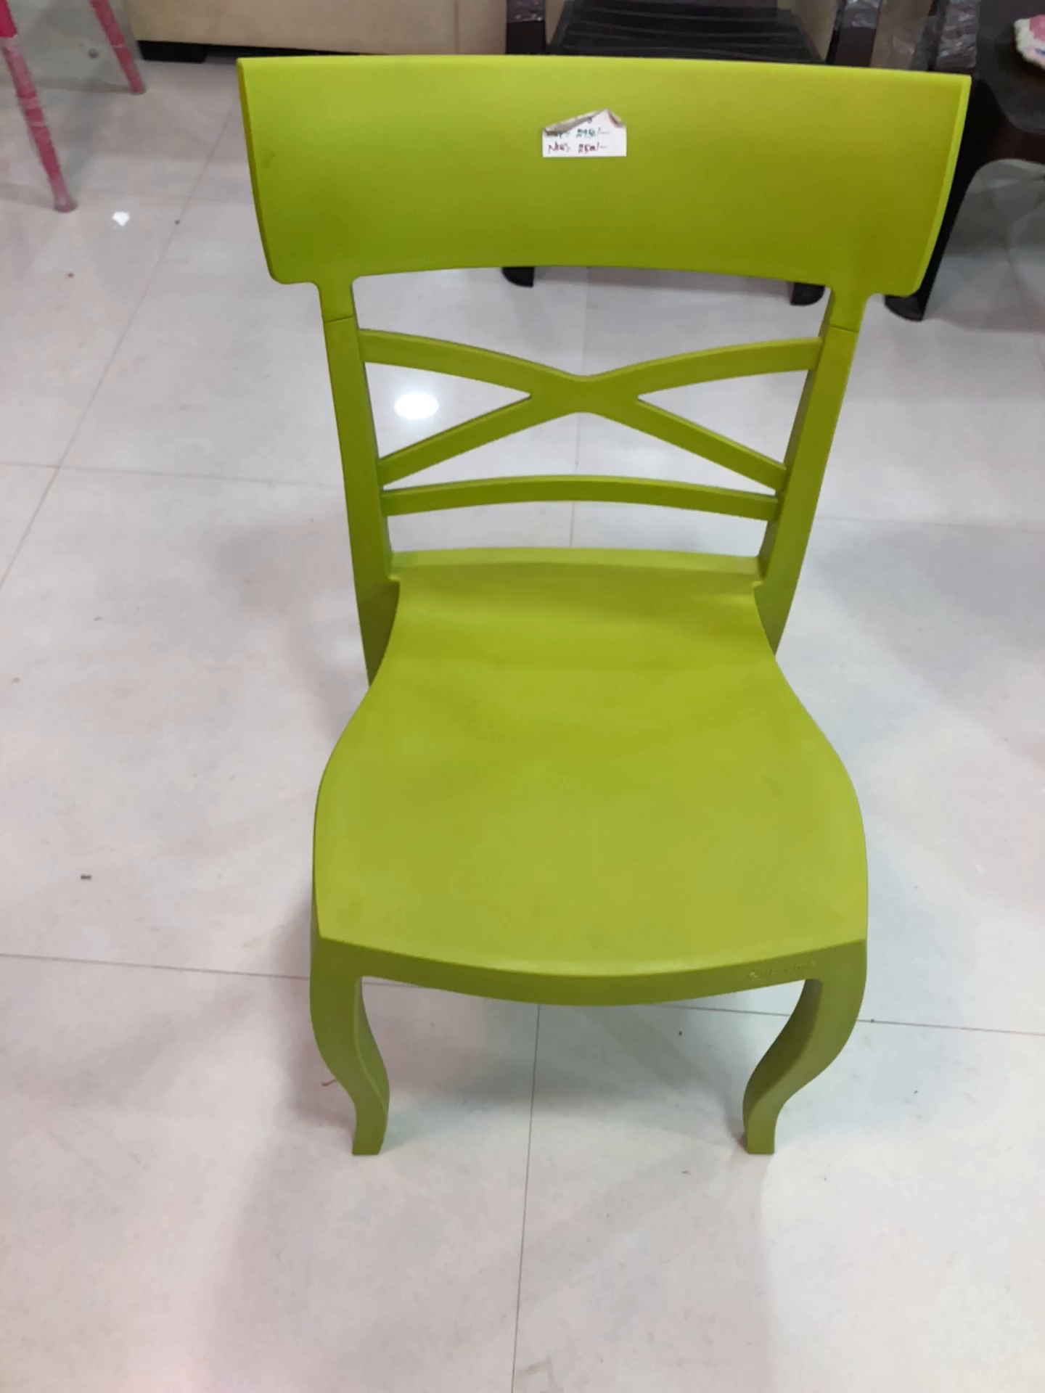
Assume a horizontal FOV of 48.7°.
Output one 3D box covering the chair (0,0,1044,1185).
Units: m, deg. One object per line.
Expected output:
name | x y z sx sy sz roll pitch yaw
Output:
chair | 0.050 -0.042 0.942 0.500 0.805 0.613 1 51 0
